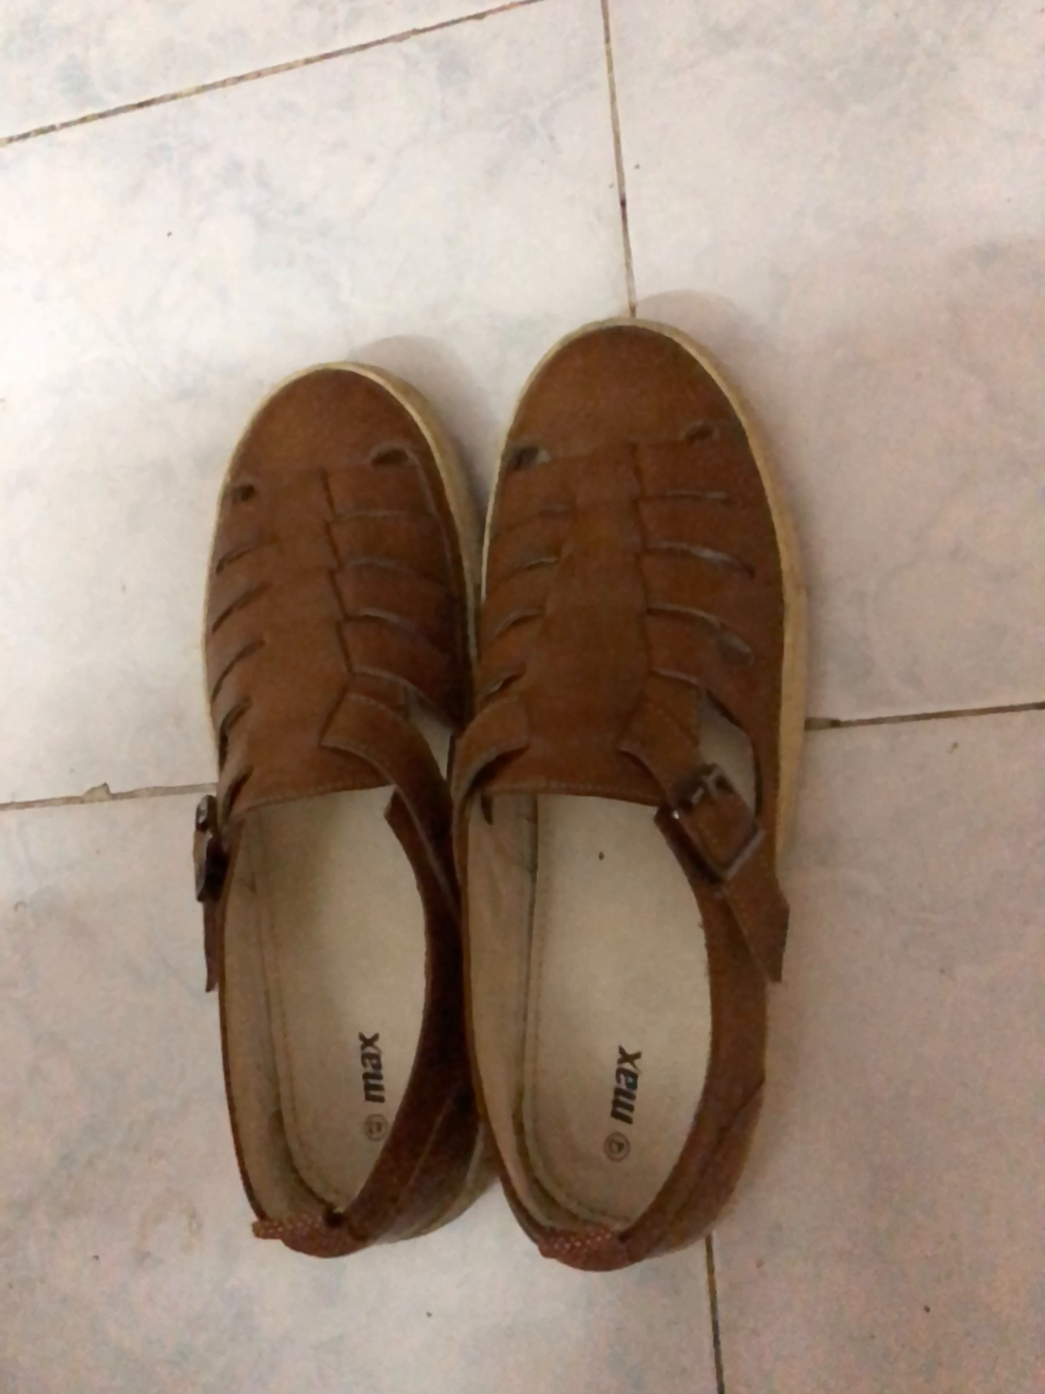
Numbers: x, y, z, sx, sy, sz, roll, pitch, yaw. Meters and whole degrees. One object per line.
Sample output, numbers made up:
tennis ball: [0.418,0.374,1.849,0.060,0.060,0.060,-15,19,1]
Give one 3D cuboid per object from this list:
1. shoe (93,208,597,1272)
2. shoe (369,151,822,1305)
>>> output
shoe: [-0.059,0.012,0.387,0.110,0.100,0.300,-10,77,14]
shoe: [0.024,0.007,0.359,0.110,0.100,0.300,-4,78,15]
